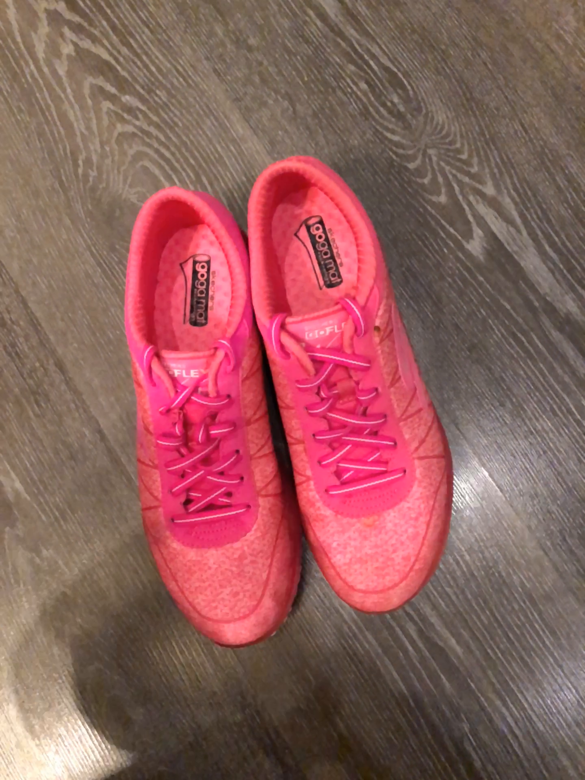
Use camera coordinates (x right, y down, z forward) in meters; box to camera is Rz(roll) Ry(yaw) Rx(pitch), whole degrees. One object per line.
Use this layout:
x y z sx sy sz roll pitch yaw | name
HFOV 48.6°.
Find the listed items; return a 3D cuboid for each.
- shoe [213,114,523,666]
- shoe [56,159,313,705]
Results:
0.037 0.000 0.365 0.100 0.090 0.260 -12 82 5 | shoe
-0.056 0.021 0.364 0.100 0.090 0.260 -7 83 6 | shoe
